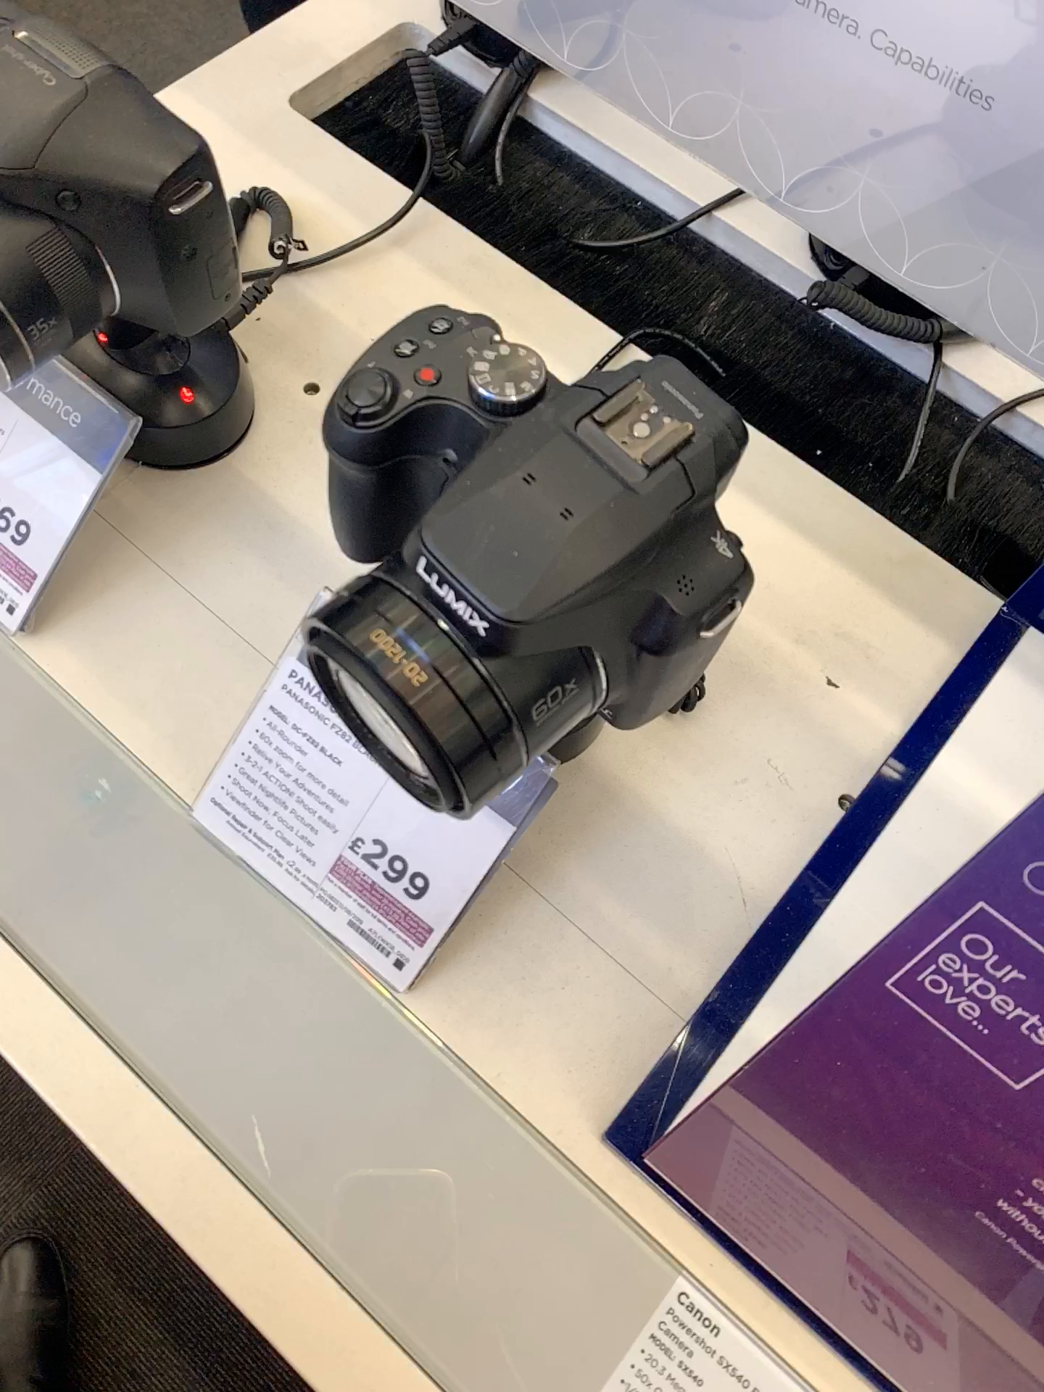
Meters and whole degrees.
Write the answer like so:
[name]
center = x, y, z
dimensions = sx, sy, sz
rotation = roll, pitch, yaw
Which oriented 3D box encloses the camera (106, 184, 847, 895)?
[camera]
center = -0.012, -0.043, 0.292
dimensions = 0.130, 0.080, 0.120
rotation = 42, 69, 14
